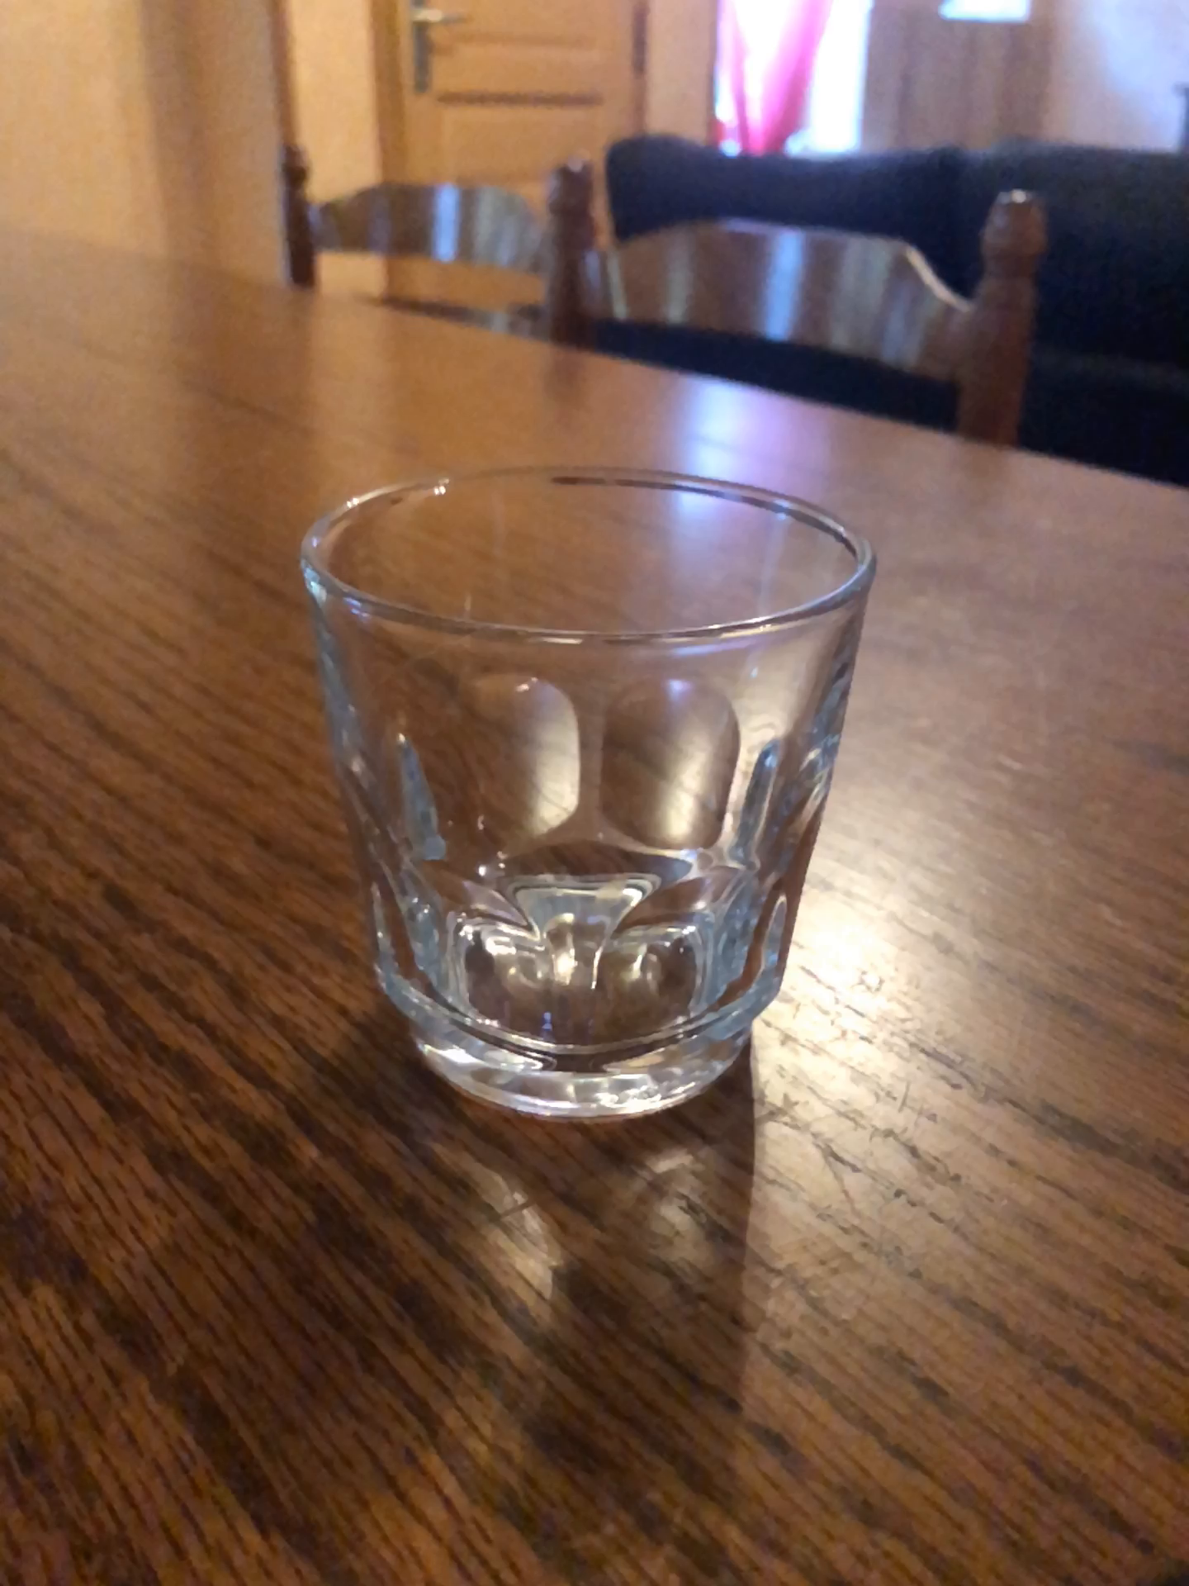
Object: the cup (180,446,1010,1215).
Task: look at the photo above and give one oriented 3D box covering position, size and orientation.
[{"bbox_3d":[0.001,-0.005,0.202,0.082,0.069,0.083,1,27,0],"label":"cup"}]
